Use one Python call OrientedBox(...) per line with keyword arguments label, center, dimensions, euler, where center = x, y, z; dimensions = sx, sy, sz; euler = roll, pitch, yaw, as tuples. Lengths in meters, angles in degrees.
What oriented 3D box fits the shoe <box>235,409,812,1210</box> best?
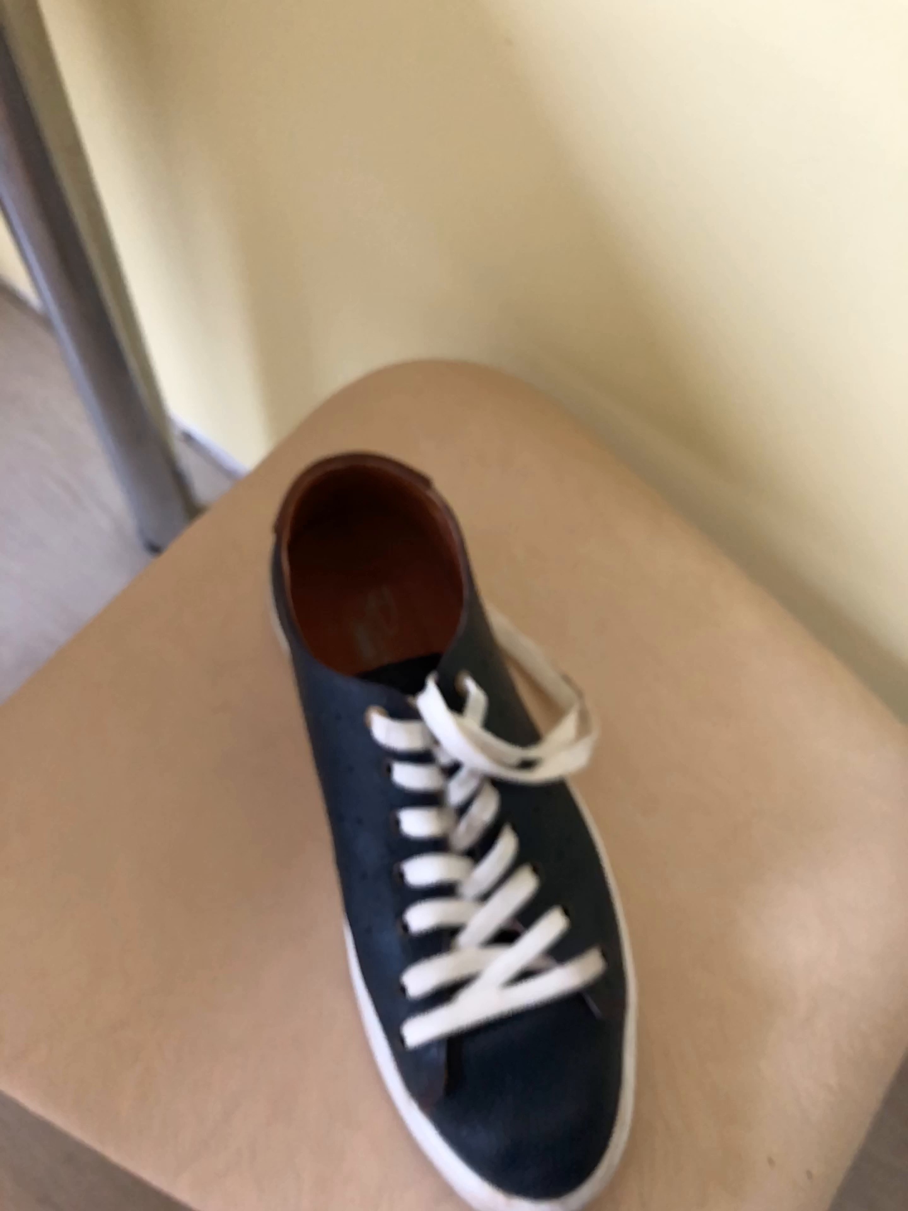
OrientedBox(label="shoe", center=(0.005, 0.080, 0.376), dimensions=(0.110, 0.090, 0.291), euler=(-12, 65, -10))
